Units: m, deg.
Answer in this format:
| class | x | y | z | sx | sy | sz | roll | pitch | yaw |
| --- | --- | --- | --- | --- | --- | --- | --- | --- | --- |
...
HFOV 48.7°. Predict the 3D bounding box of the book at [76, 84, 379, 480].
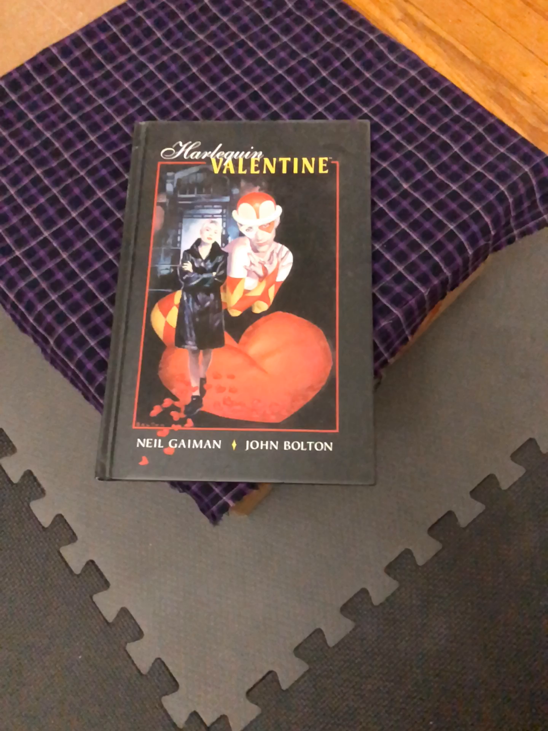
| class | x | y | z | sx | sy | sz | roll | pitch | yaw |
| --- | --- | --- | --- | --- | --- | --- | --- | --- | --- |
| book | -0.026 | -0.066 | 0.410 | 0.180 | 0.020 | 0.280 | 0 | 73 | 2 |
